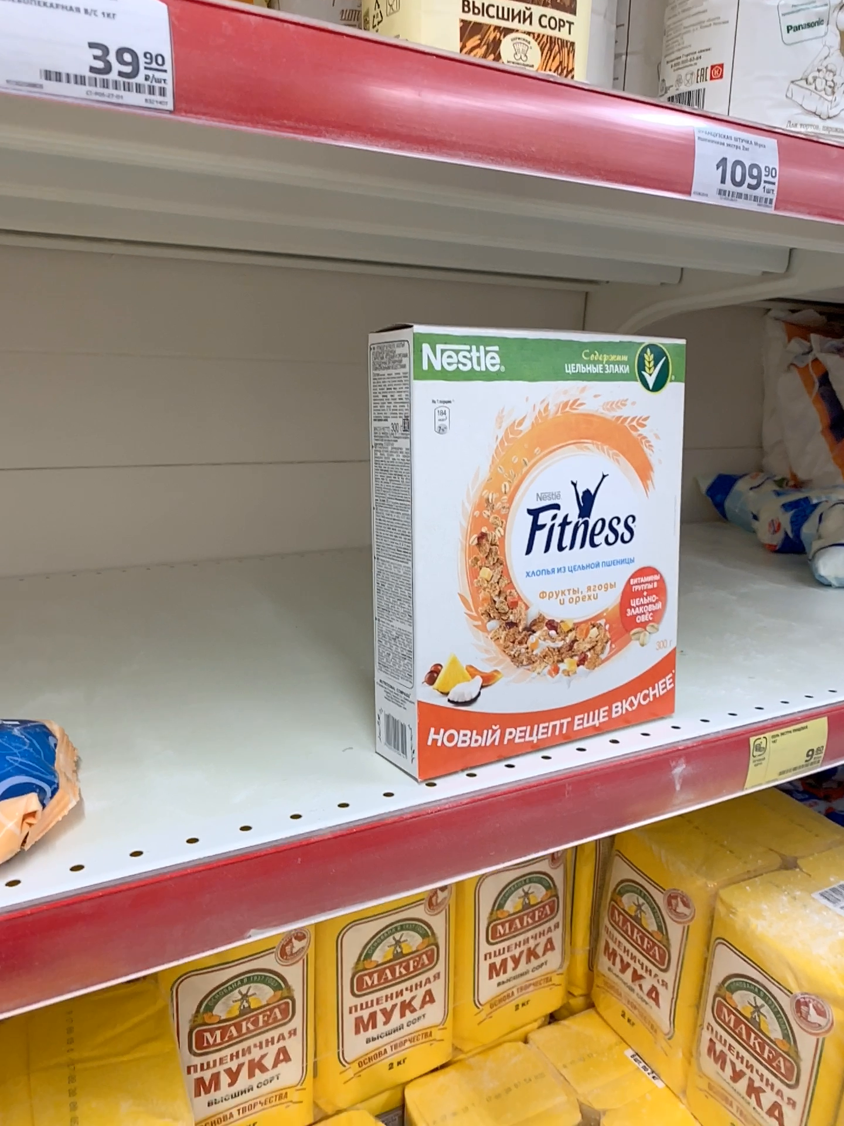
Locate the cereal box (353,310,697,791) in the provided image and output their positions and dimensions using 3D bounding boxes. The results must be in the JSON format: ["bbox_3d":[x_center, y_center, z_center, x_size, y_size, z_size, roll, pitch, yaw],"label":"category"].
[{"bbox_3d":[0.066,-0.015,0.507,0.200,0.239,0.060,-6,9,-32],"label":"cereal box"}]
